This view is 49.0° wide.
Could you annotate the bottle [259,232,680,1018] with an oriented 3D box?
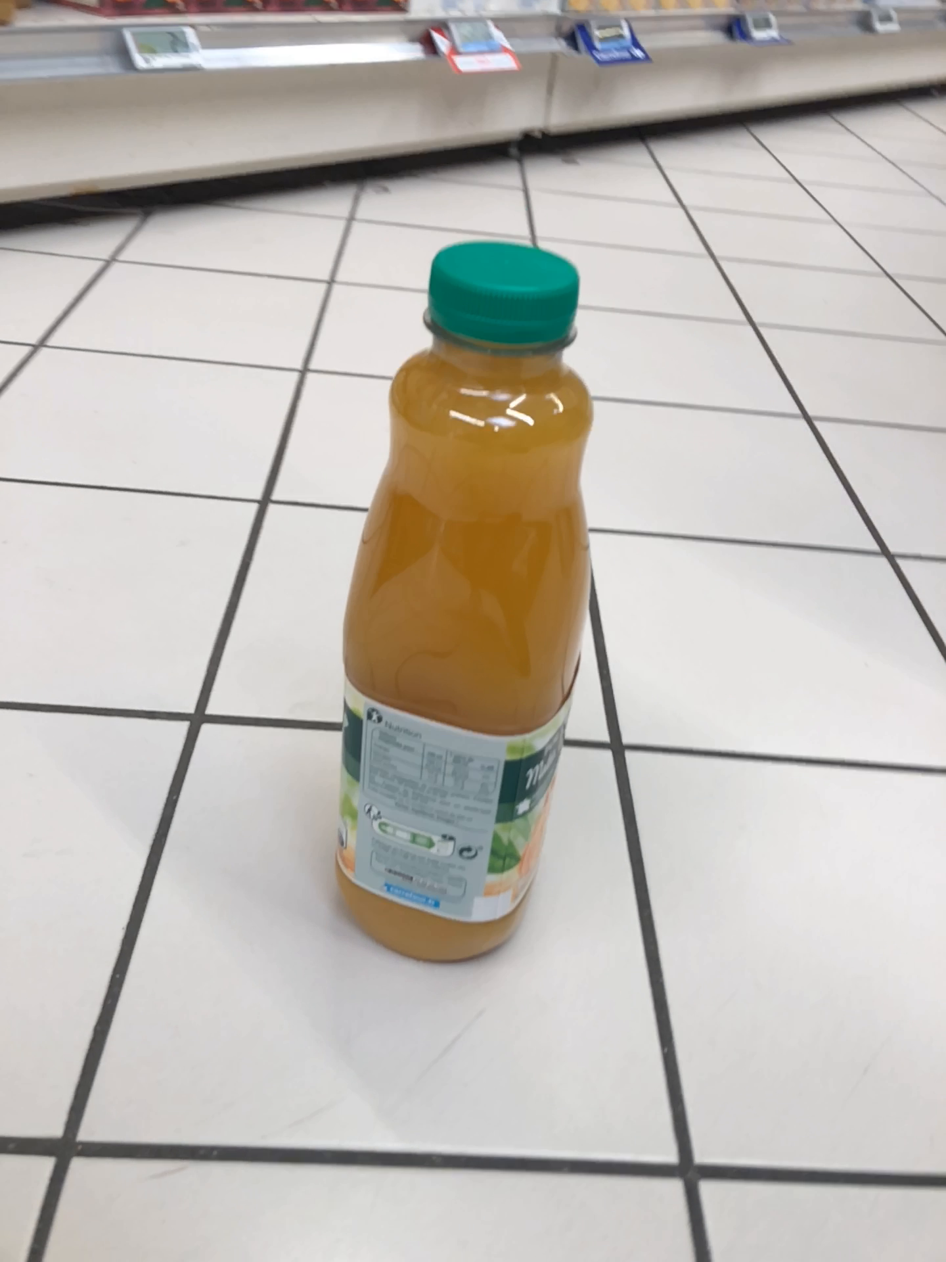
[{"bbox_3d":[-0.008,0.009,0.343,0.090,0.238,0.081,16,37,12],"label":"bottle"}]
